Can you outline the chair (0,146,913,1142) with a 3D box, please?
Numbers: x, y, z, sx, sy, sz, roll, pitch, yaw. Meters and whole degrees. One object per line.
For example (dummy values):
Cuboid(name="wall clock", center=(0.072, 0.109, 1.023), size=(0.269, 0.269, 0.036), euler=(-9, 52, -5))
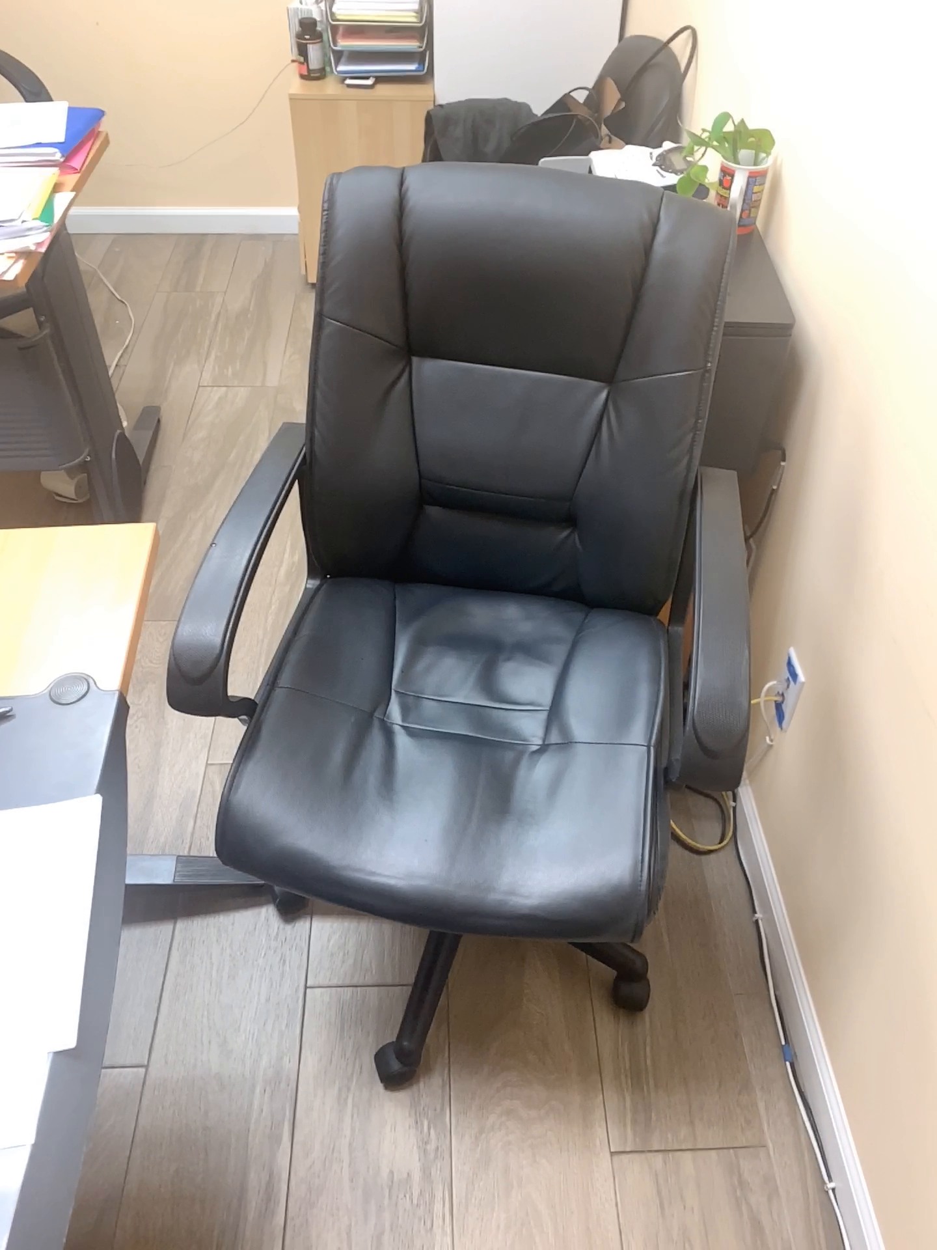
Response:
Cuboid(name="chair", center=(0.001, 0.060, 1.155), size=(0.620, 0.947, 0.665), euler=(7, 46, 6))
